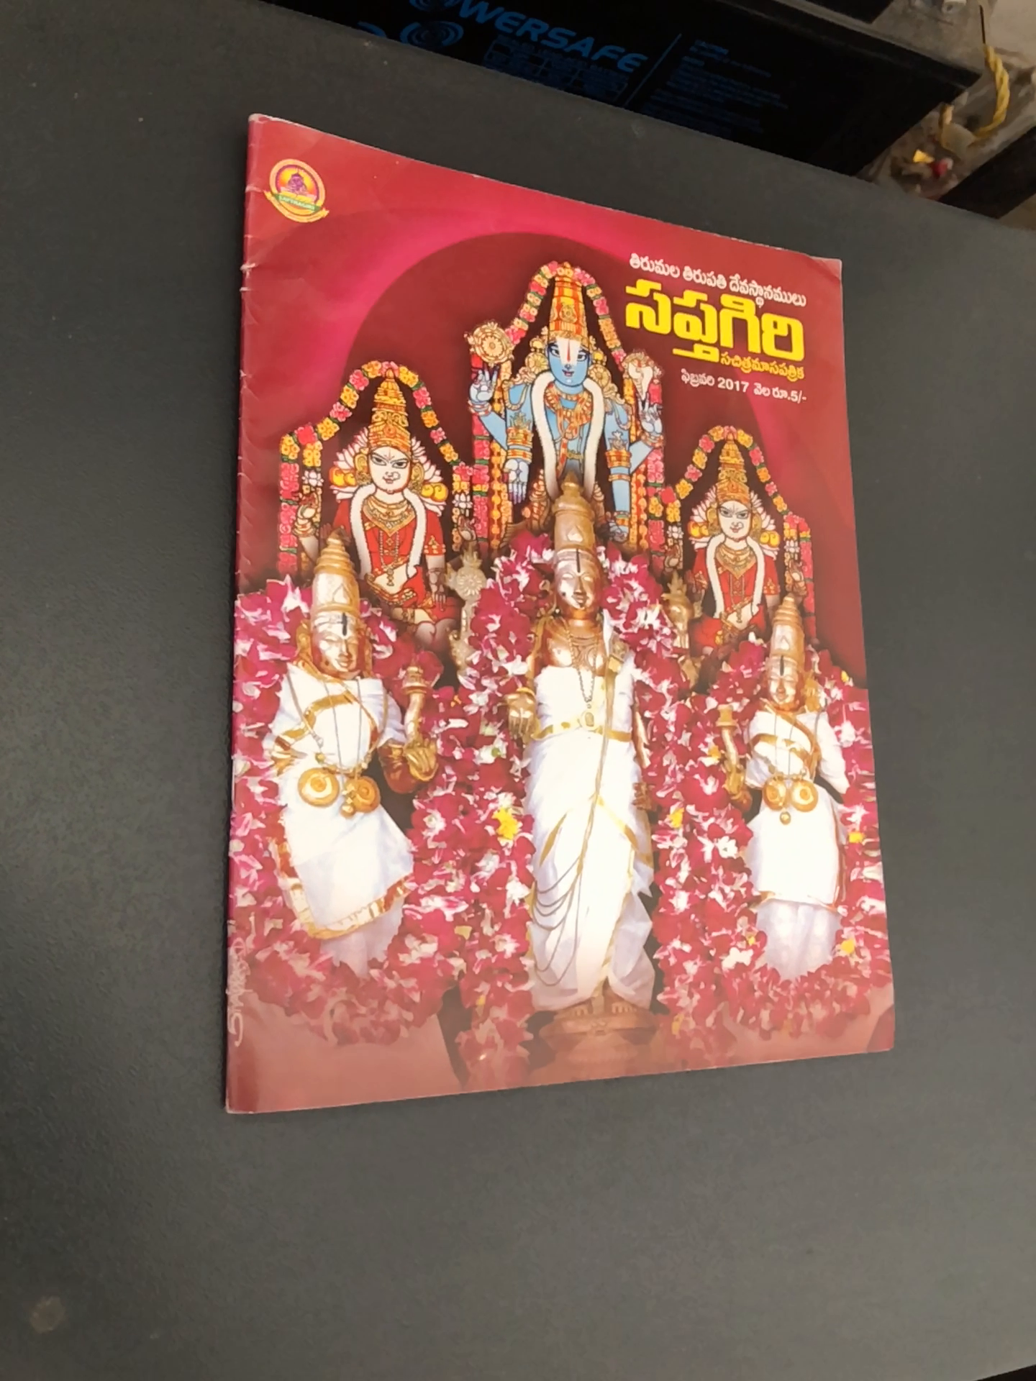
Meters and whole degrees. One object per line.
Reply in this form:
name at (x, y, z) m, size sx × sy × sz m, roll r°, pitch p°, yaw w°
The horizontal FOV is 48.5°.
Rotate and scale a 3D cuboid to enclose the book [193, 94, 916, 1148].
book at (0.014, -0.021, 0.330) m, size 0.200 × 0.030 × 0.260 m, roll 2°, pitch 79°, yaw -24°
